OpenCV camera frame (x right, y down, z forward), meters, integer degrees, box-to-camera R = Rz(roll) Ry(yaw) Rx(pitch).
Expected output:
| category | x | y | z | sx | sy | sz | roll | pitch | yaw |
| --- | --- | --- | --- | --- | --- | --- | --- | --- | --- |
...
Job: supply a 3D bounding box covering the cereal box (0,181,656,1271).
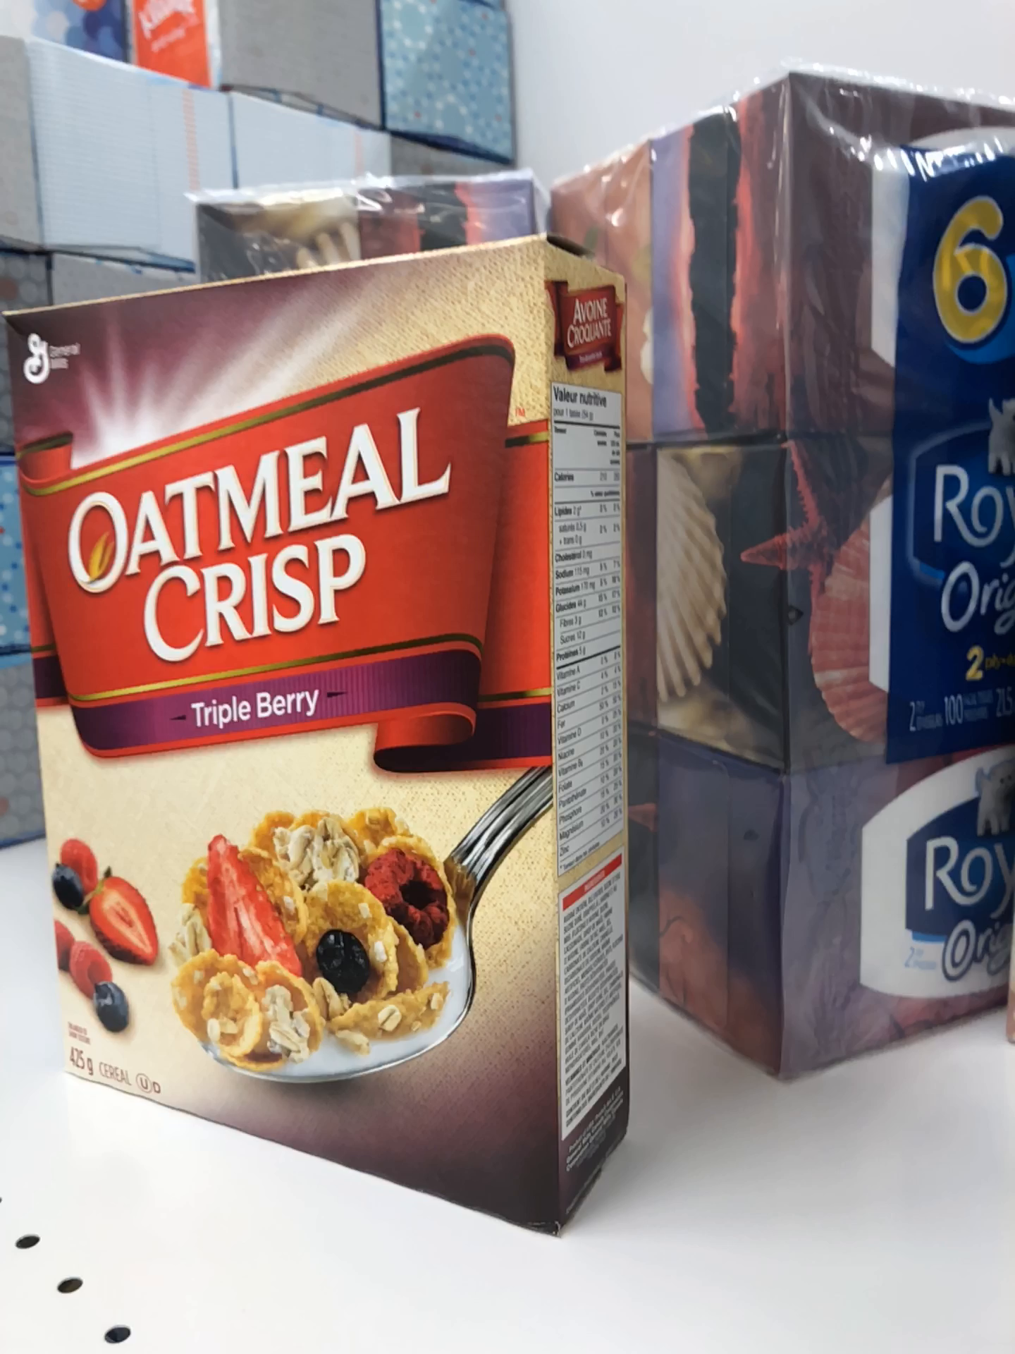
| category | x | y | z | sx | sy | sz | roll | pitch | yaw |
| --- | --- | --- | --- | --- | --- | --- | --- | --- | --- |
| cereal box | -0.059 | 0.011 | 0.352 | 0.200 | 0.270 | 0.060 | 4 | 10 | 30 |
